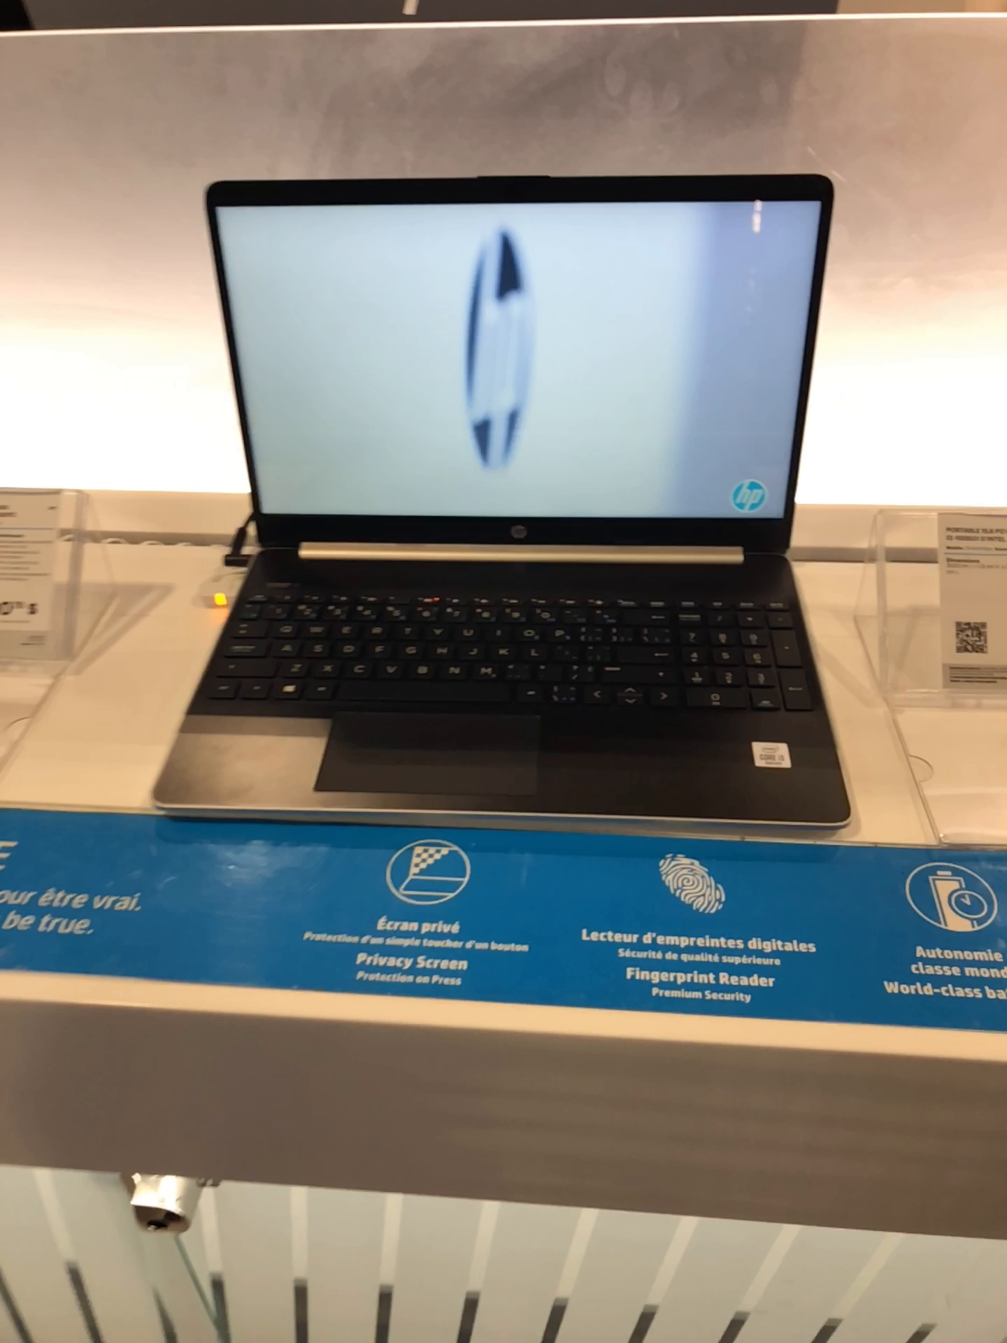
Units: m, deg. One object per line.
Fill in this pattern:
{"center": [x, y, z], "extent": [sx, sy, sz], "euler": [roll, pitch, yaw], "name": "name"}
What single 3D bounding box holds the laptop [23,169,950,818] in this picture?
{"center": [0.001, -0.109, 0.600], "extent": [0.355, 0.221, 0.284], "euler": [1, 40, 4], "name": "laptop"}
